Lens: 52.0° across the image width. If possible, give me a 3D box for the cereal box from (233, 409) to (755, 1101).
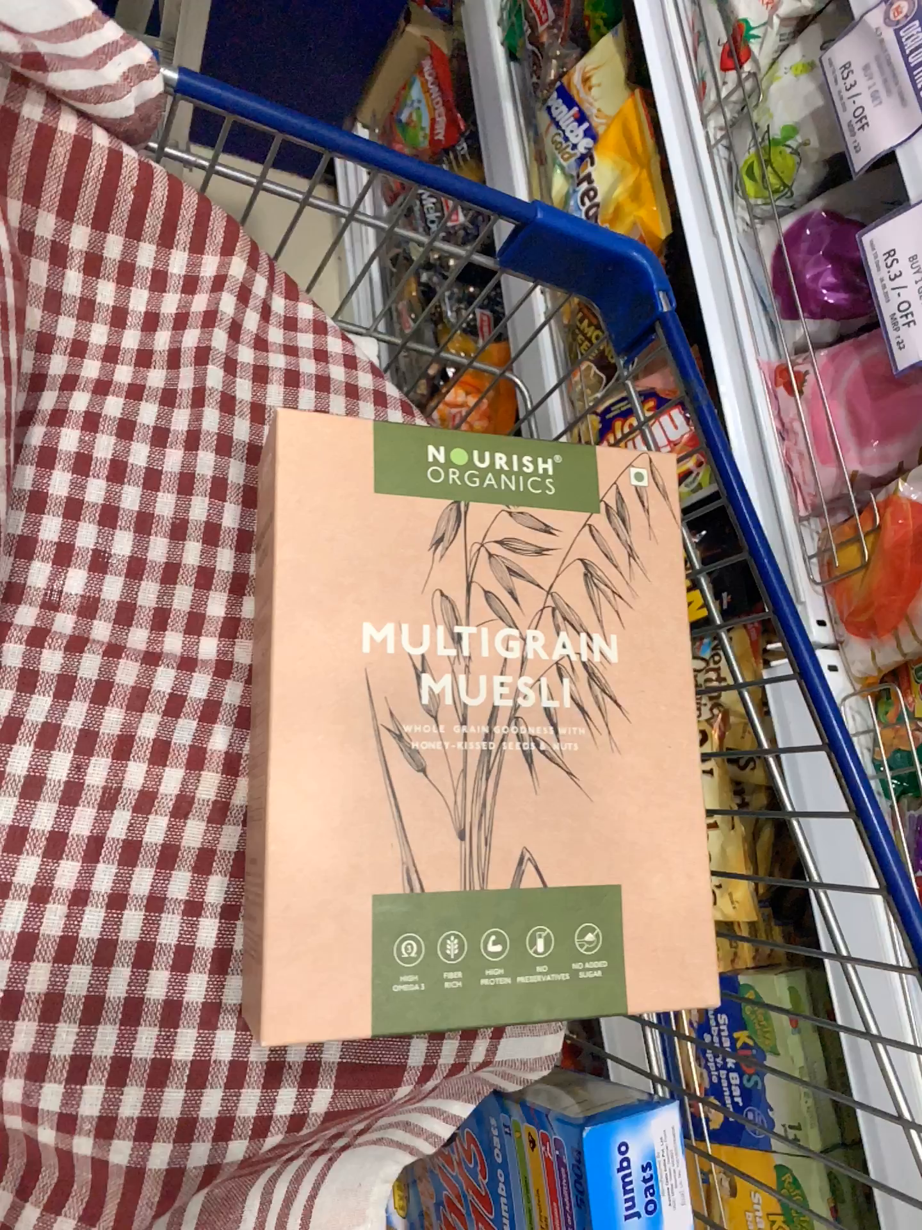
[{"bbox_3d":[0.009,0.042,0.325,0.160,0.050,0.200,3,76,-19],"label":"cereal box"}]
